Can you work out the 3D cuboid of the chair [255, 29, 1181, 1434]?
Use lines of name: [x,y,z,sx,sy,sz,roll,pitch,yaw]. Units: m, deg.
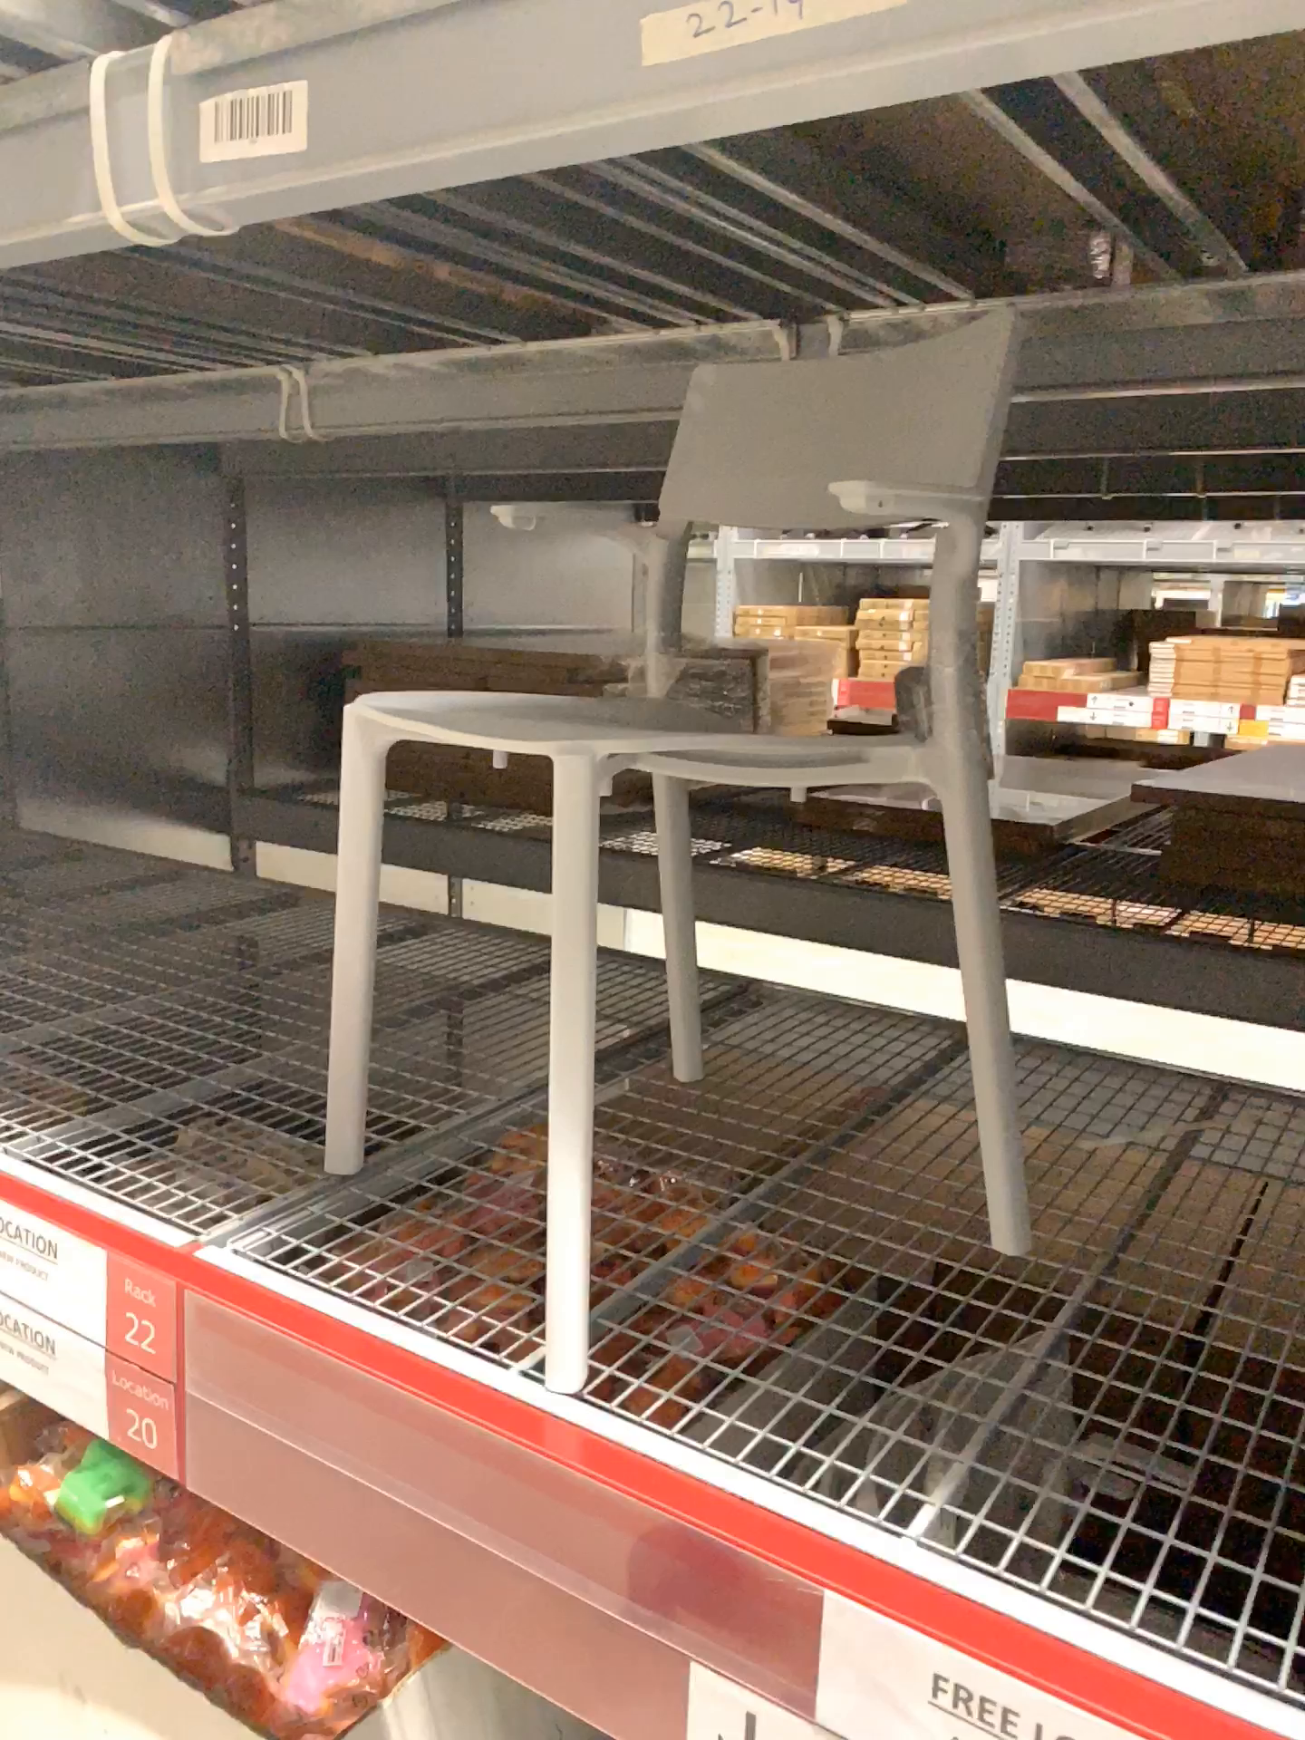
chair: [0.032,-0.109,1.125,0.550,0.818,0.481,-7,14,-36]
